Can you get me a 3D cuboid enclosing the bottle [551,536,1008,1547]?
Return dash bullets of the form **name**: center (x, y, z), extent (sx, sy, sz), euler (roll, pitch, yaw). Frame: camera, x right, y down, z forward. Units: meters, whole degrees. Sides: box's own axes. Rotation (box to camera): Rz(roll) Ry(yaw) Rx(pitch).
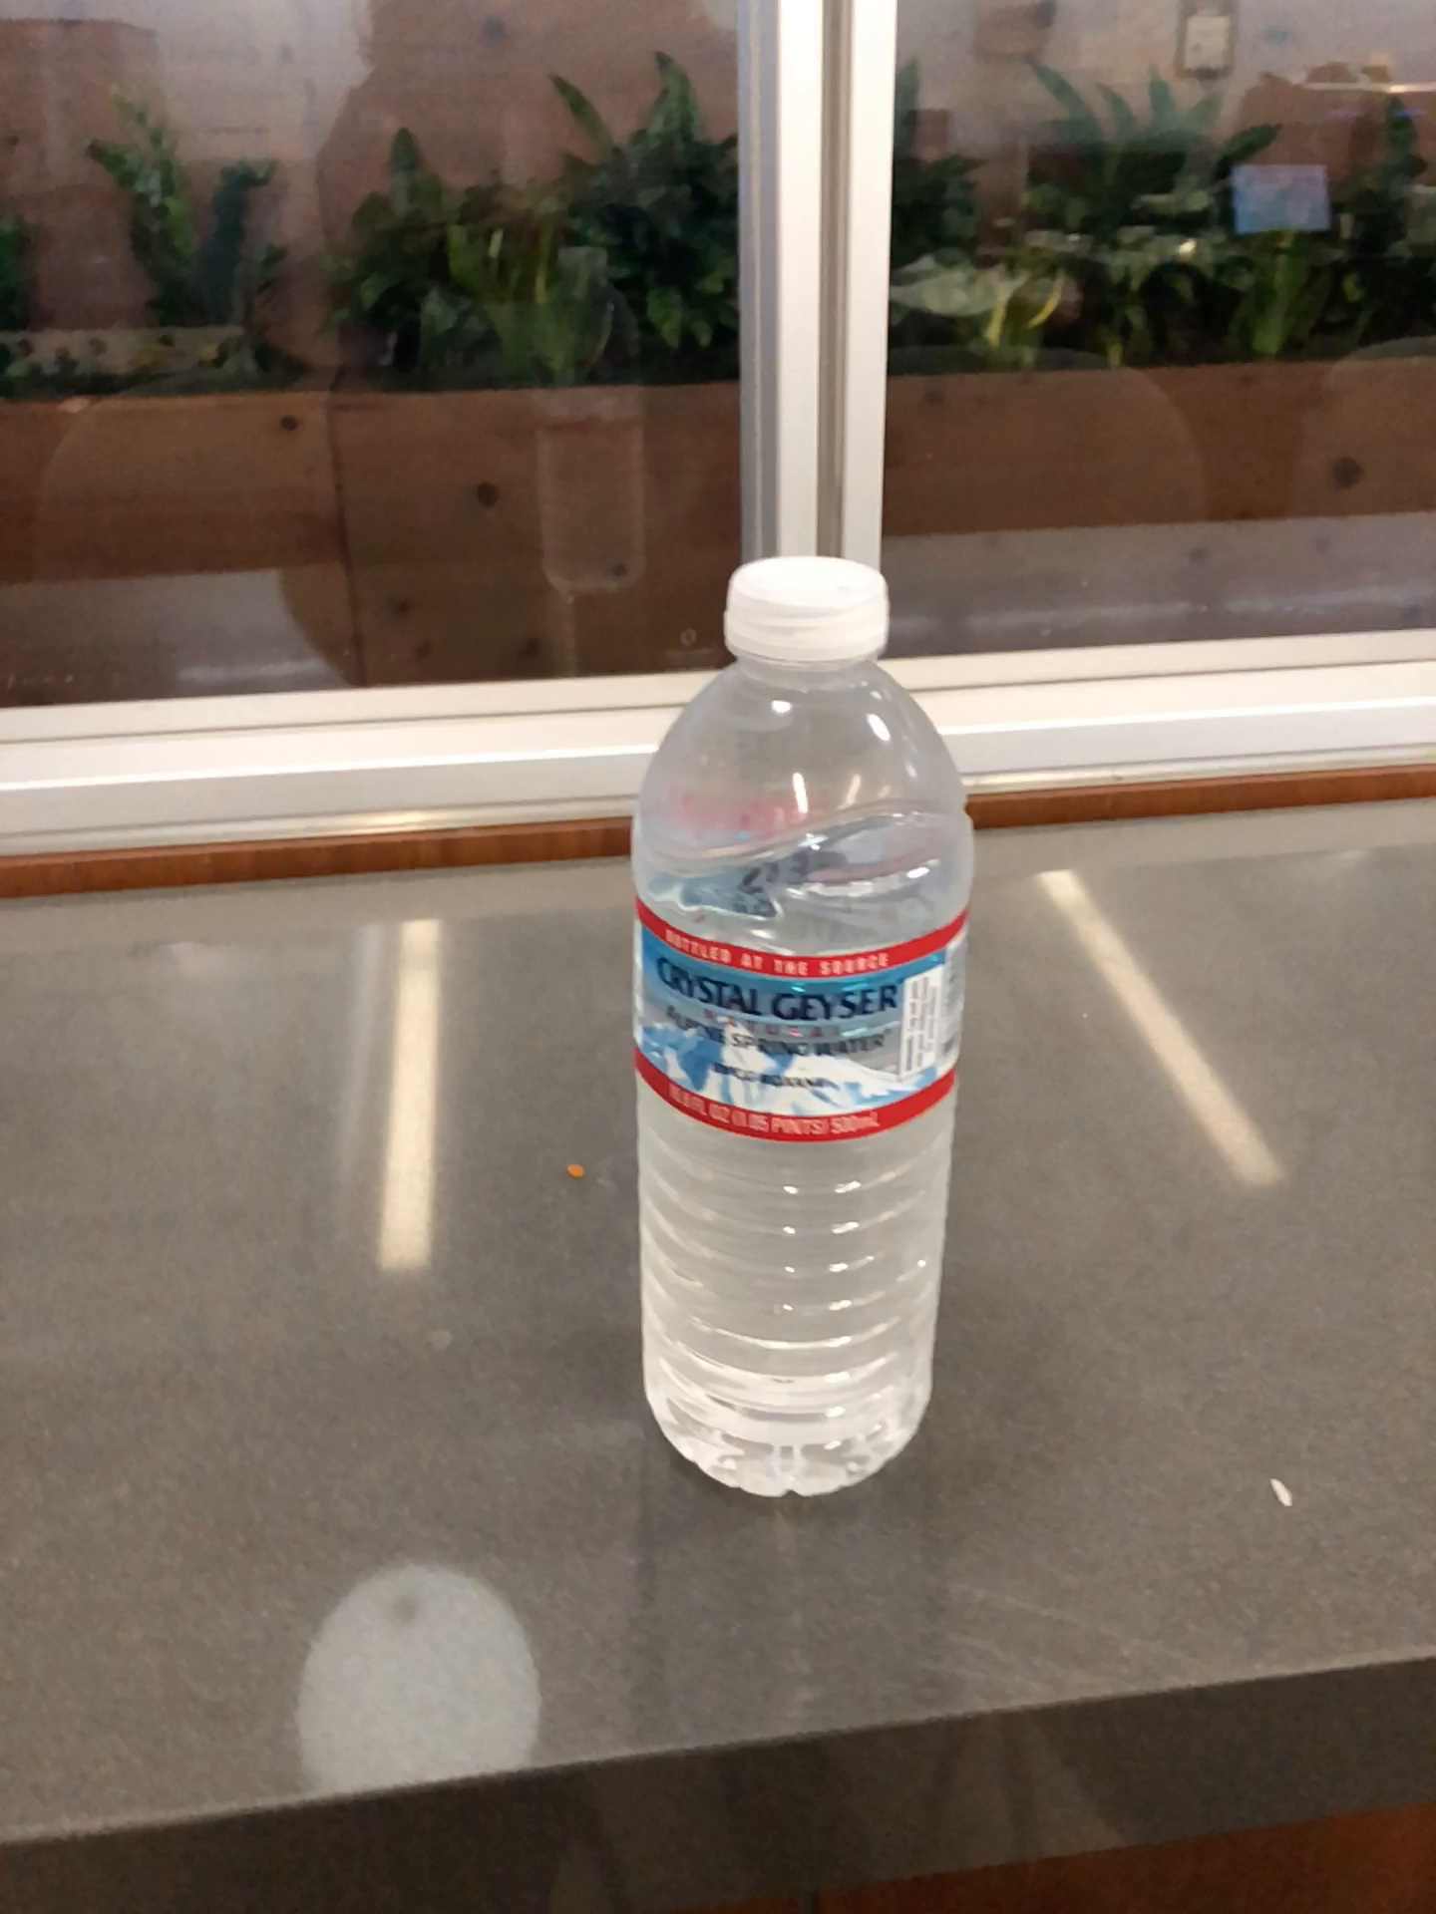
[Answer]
- **bottle**: center (0.016, 0.019, 0.323), extent (0.070, 0.189, 0.070), euler (-1, 28, 0)
